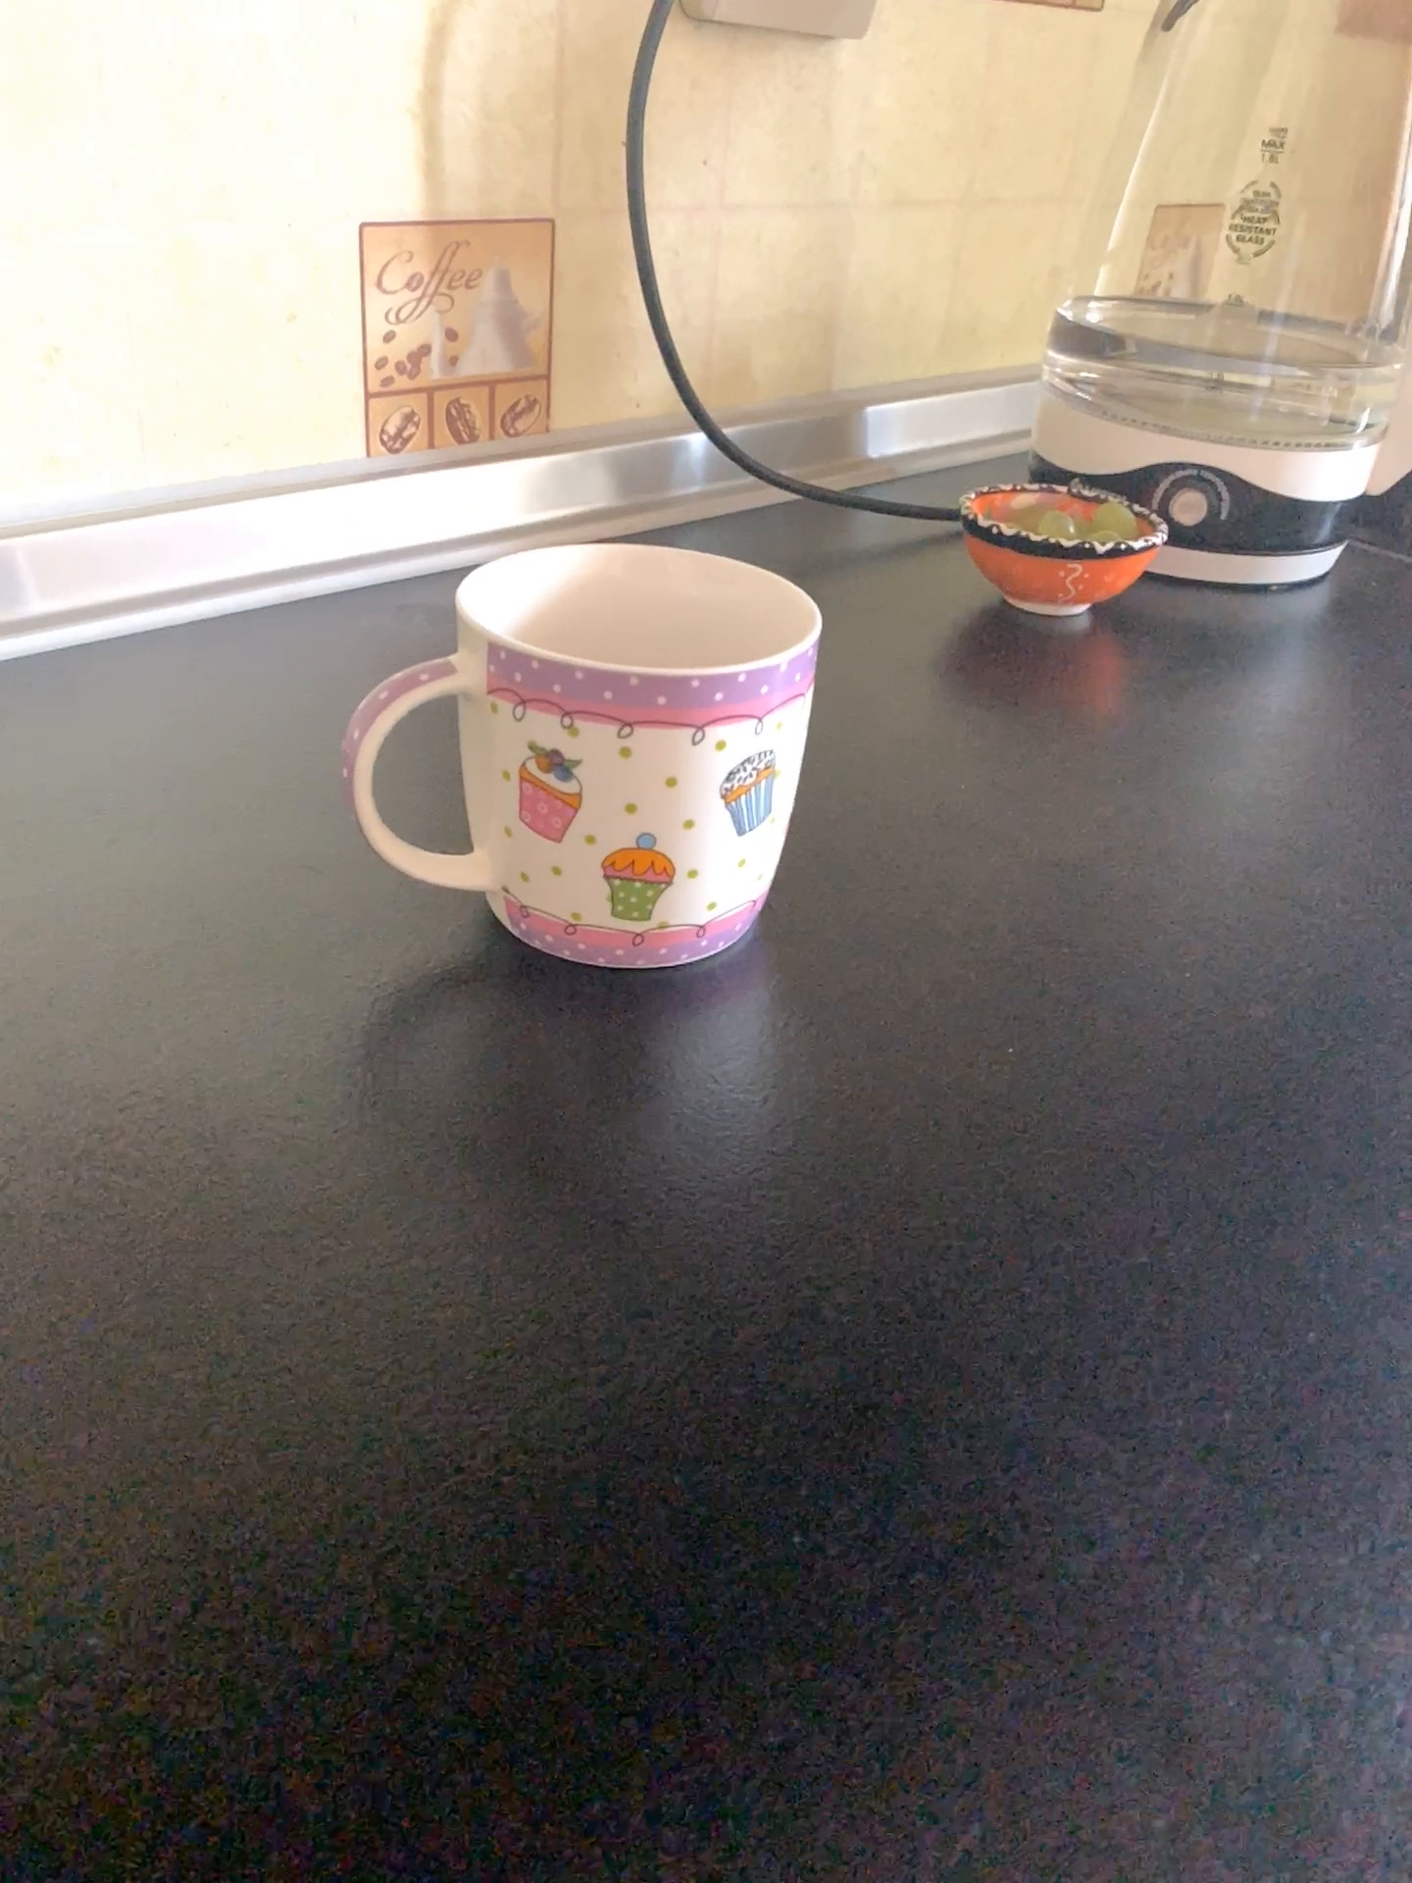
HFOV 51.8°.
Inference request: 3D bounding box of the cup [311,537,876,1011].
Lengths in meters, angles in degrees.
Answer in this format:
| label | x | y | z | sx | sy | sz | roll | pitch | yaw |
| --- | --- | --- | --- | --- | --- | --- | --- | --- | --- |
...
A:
| label | x | y | z | sx | sy | sz | roll | pitch | yaw |
| --- | --- | --- | --- | --- | --- | --- | --- | --- | --- |
| cup | -0.032 | -0.045 | 0.347 | 0.110 | 0.080 | 0.080 | -5 | 33 | -18 |
